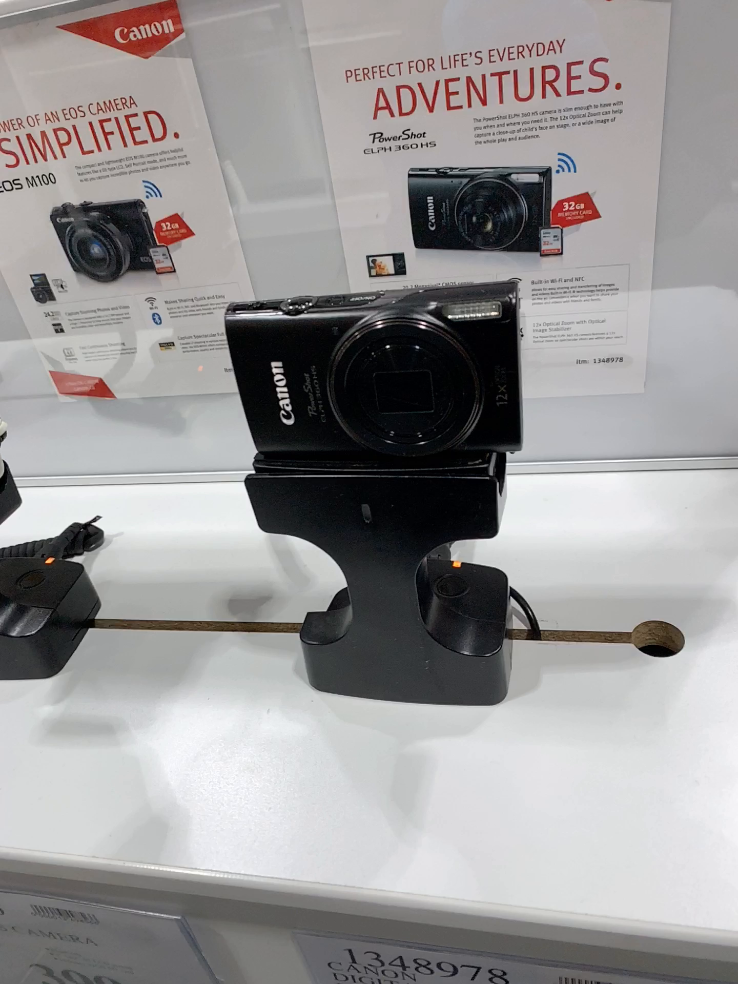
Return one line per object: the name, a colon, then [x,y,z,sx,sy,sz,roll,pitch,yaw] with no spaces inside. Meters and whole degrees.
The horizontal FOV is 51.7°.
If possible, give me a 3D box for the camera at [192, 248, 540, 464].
camera: [0.002,-0.046,0.273,0.110,0.060,0.040,0,35,17]
